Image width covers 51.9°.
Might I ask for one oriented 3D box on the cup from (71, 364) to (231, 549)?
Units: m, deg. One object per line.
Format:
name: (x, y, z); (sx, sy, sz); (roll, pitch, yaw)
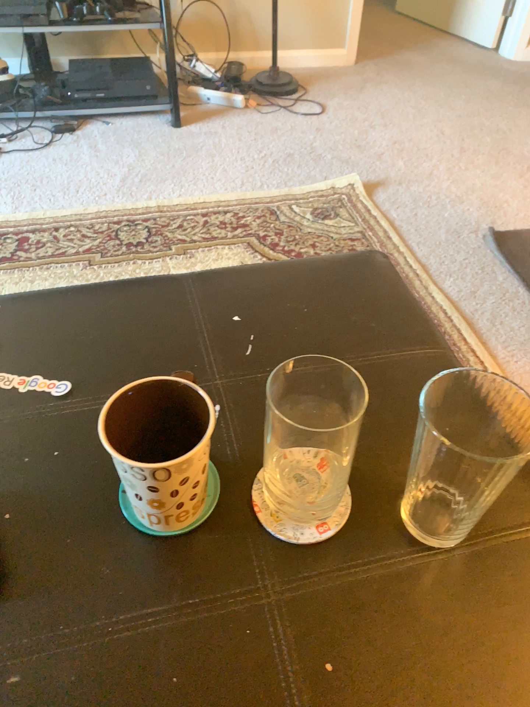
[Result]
cup: (-0.081, 0.081, 0.428); (0.090, 0.099, 0.090); (1, 45, -1)

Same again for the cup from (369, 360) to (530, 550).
cup: (0.140, 0.083, 0.428); (0.080, 0.139, 0.080); (1, 45, -1)

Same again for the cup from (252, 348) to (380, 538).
cup: (0.033, 0.072, 0.422); (0.080, 0.129, 0.080); (1, 45, -1)
